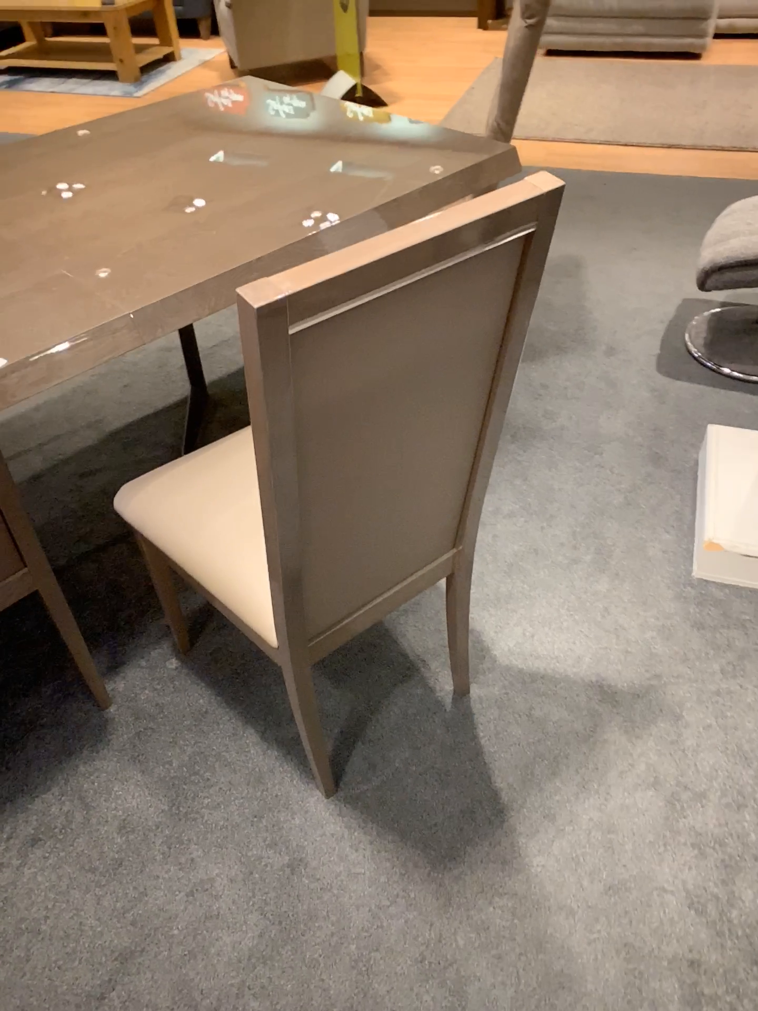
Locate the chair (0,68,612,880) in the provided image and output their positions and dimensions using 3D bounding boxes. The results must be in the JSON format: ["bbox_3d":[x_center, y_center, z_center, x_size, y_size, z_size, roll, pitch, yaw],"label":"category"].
[{"bbox_3d":[-0.117,-0.041,1.179,0.540,0.946,0.589,-33,49,-28],"label":"chair"}]
